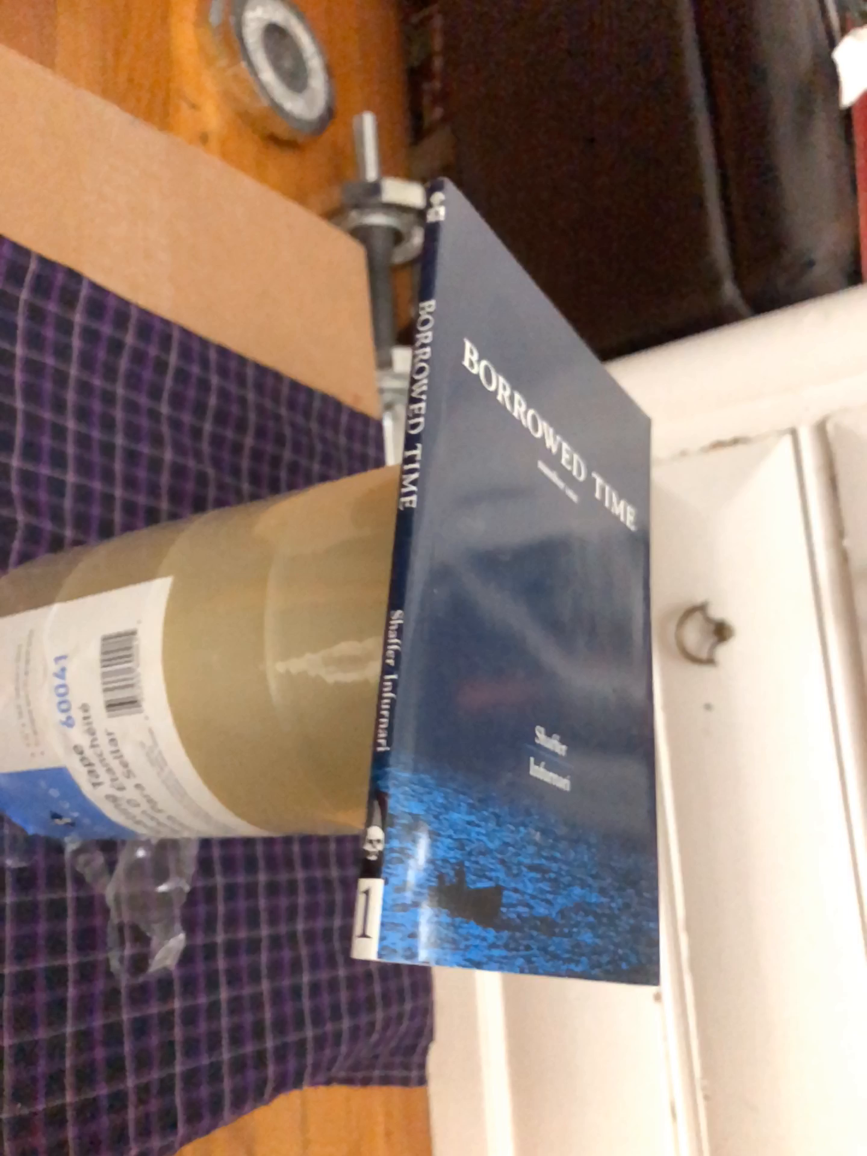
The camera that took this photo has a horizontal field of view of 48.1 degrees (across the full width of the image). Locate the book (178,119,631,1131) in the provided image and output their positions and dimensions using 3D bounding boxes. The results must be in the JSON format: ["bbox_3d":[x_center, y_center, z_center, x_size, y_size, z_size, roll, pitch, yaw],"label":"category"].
[{"bbox_3d":[0.013,0.015,0.267,0.161,0.010,0.230,34,51,-48],"label":"book"}]
